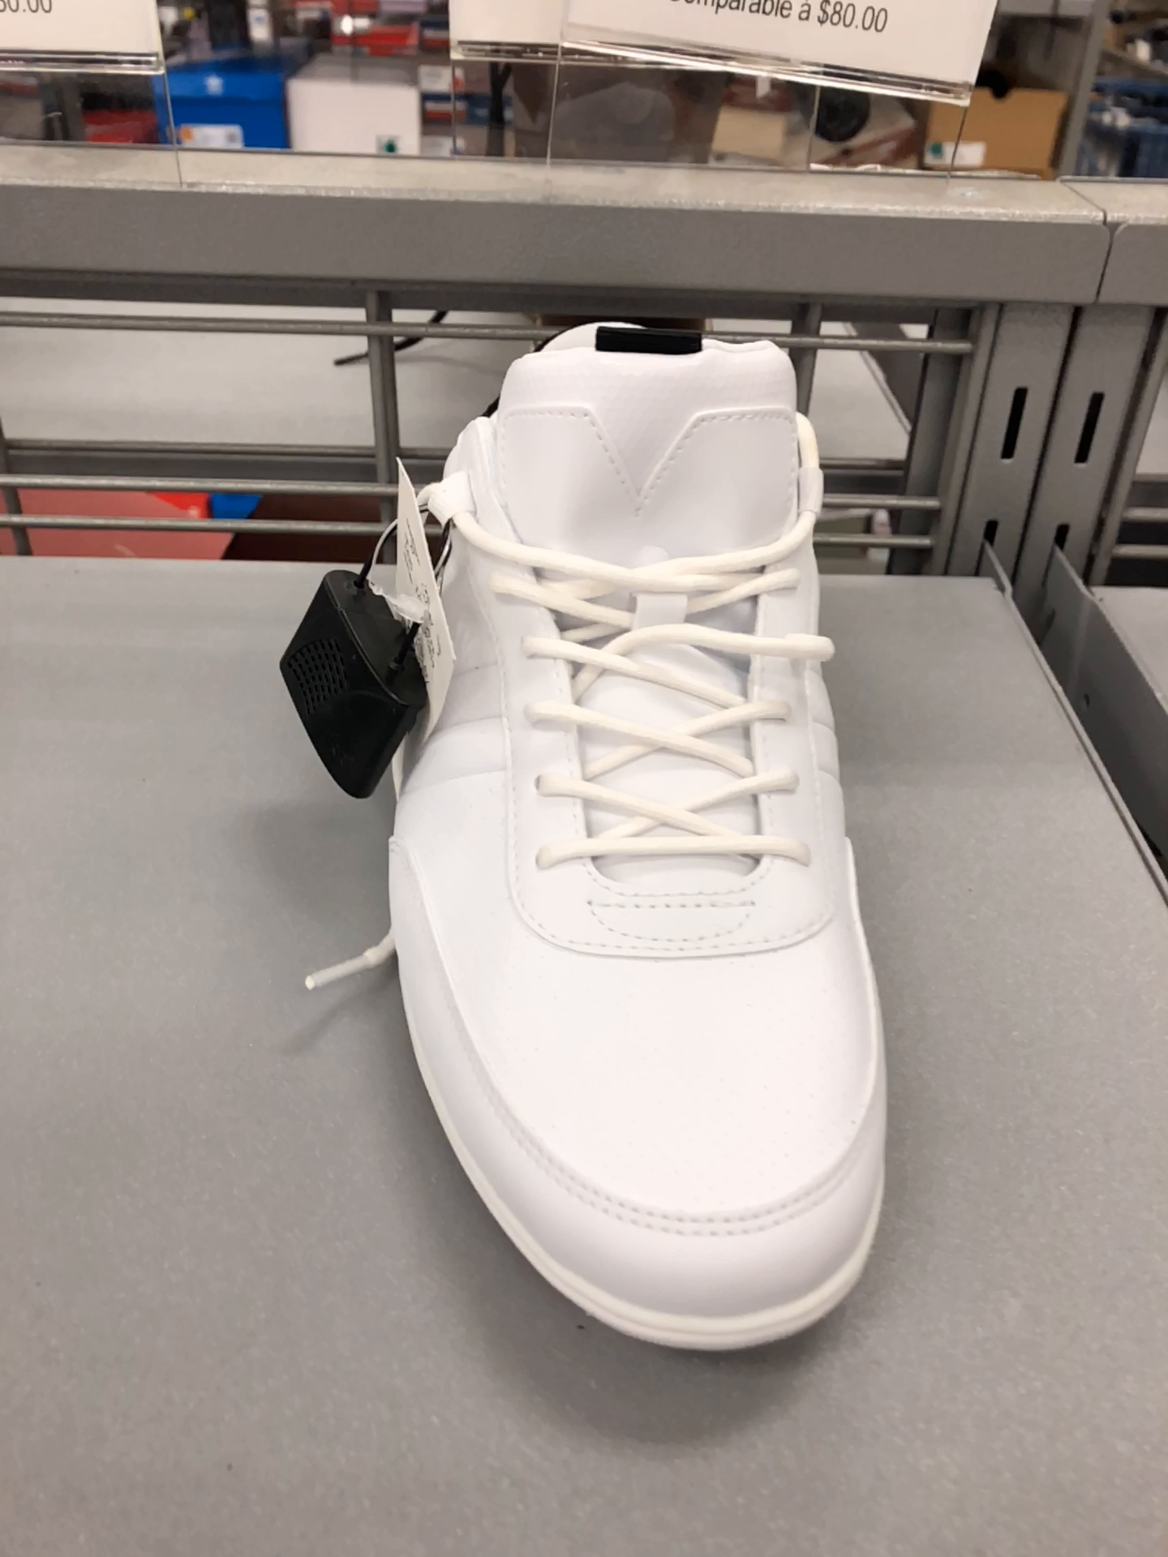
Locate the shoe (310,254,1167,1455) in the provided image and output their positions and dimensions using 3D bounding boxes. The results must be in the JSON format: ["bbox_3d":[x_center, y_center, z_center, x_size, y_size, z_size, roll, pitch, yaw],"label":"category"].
[{"bbox_3d":[0.010,-0.020,0.290,0.110,0.119,0.272,-2,36,-6],"label":"shoe"}]
